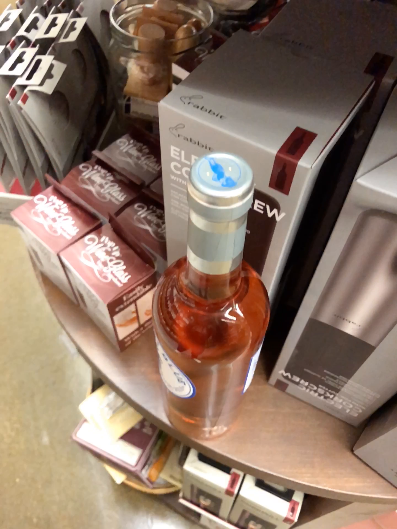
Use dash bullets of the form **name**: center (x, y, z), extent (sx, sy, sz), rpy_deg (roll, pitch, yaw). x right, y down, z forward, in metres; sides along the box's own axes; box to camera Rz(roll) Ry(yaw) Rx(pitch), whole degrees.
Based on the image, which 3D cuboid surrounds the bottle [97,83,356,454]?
- **bottle**: center (0.008, 0.039, 0.298), extent (0.080, 0.289, 0.078), rpy_deg (0, 55, 0)
